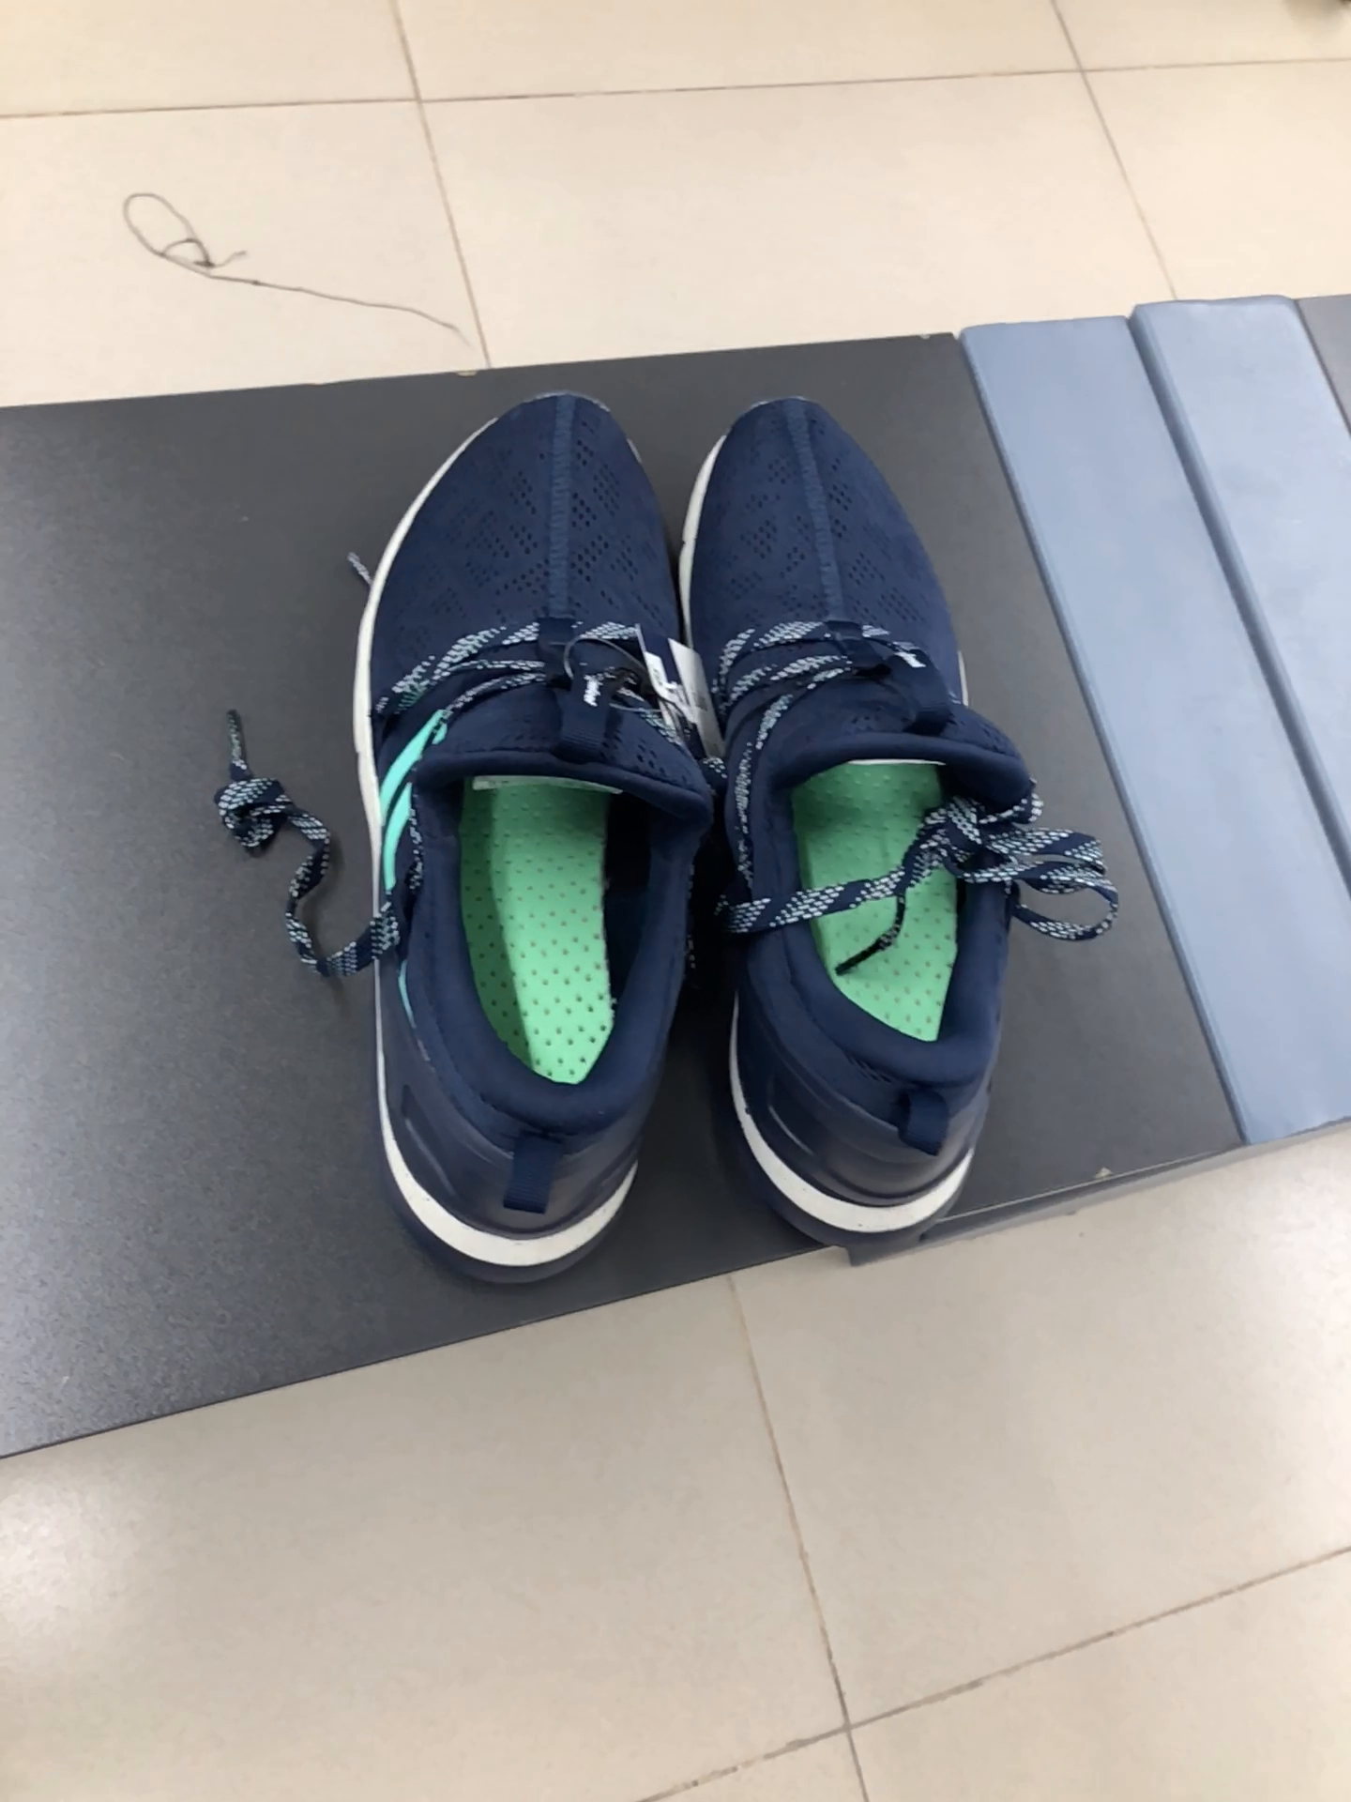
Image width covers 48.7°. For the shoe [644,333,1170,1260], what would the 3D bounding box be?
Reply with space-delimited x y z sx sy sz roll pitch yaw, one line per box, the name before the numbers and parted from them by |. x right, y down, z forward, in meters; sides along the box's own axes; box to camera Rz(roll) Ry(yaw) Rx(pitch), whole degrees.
shoe | 0.056 -0.026 0.457 0.100 0.120 0.251 1 71 -12

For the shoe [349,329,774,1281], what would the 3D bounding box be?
shoe | -0.044 -0.023 0.445 0.100 0.120 0.251 1 71 -12
